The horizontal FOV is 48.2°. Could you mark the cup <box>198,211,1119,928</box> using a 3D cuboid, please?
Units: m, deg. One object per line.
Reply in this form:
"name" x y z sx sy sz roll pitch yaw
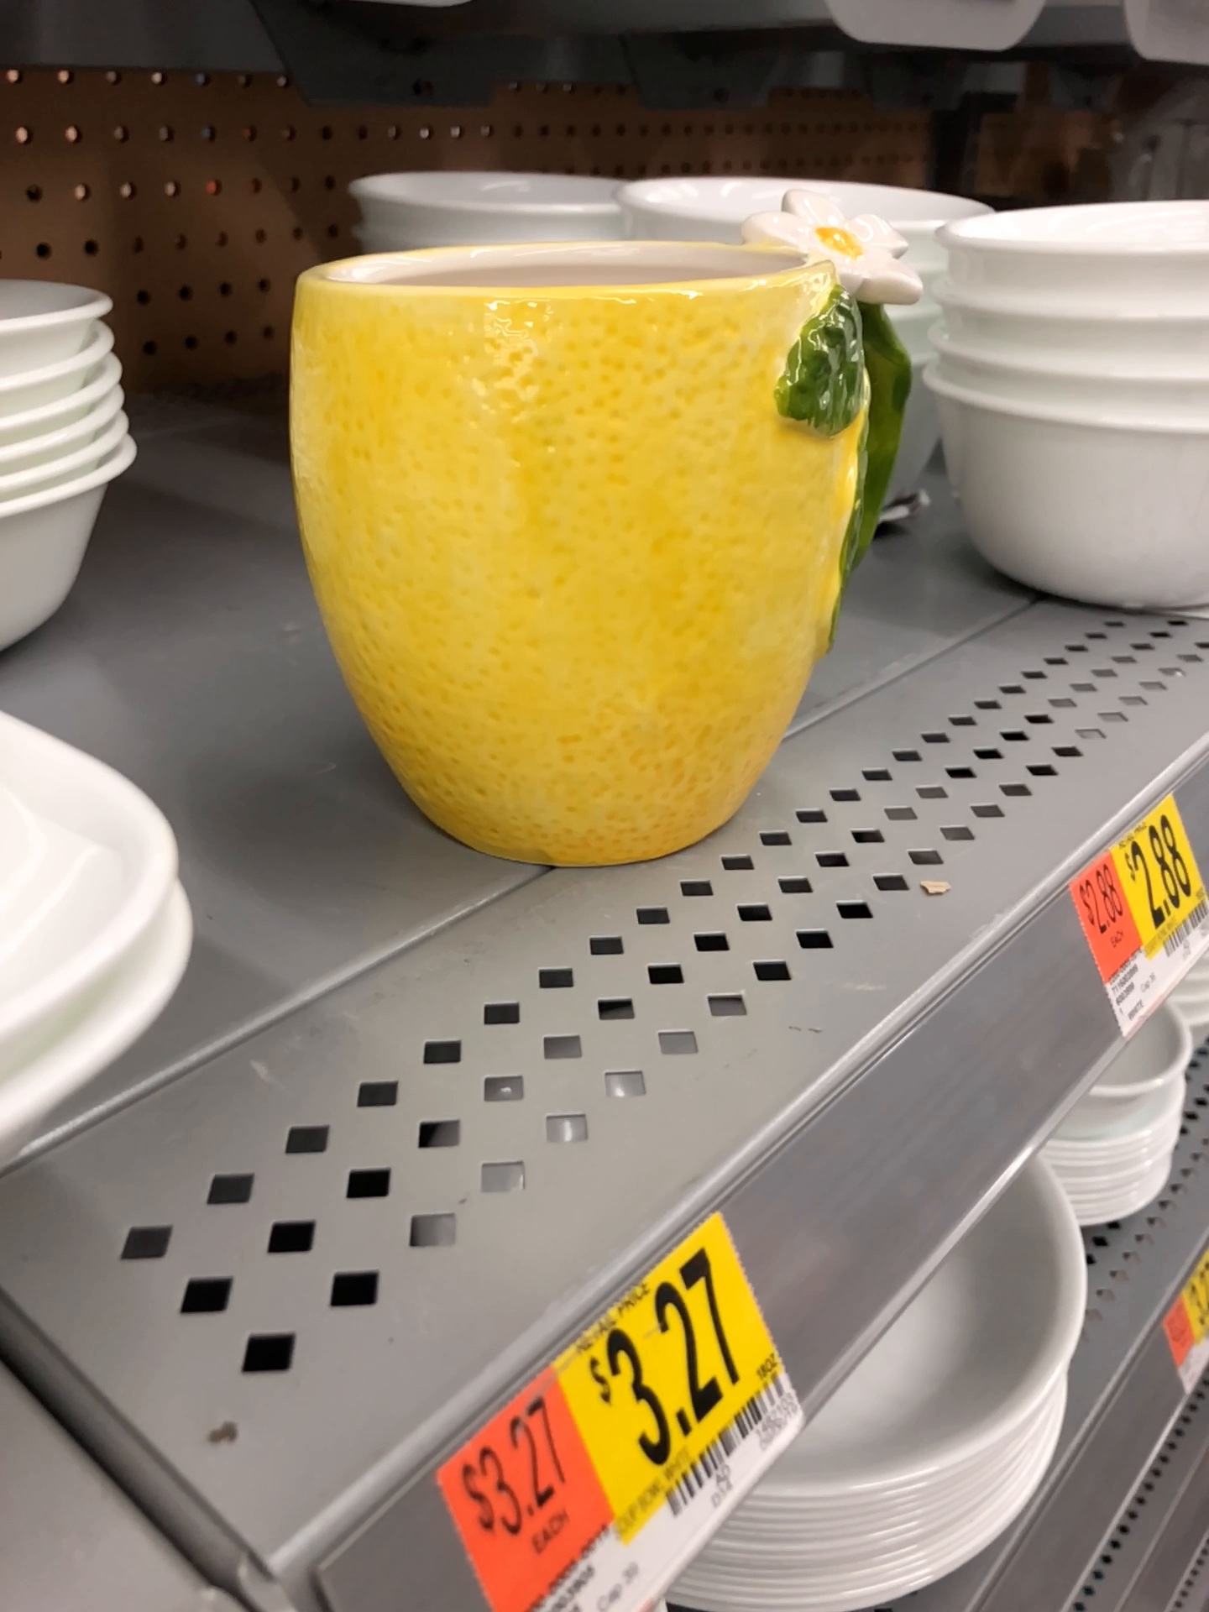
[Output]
"cup" 0.014 -0.062 0.268 0.101 0.094 0.139 24 35 38
